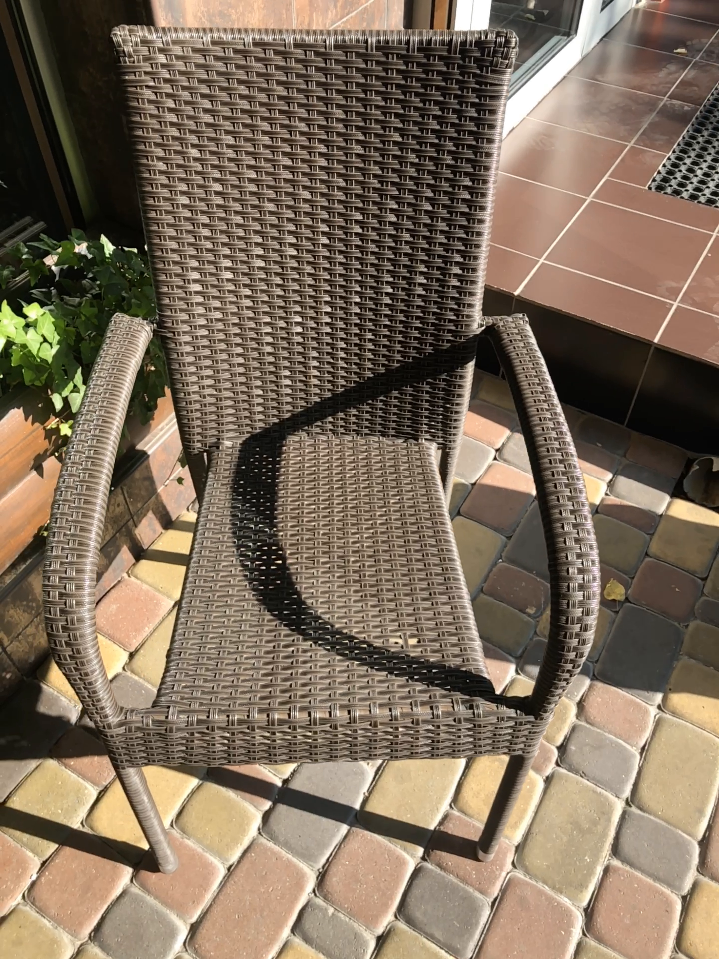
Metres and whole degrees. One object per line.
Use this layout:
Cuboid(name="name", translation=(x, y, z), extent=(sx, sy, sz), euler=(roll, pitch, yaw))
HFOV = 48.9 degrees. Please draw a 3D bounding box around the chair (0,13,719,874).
Cuboid(name="chair", translation=(-0.051, 0.029, 0.927), extent=(0.520, 0.847, 0.582), euler=(-1, 50, -1))
